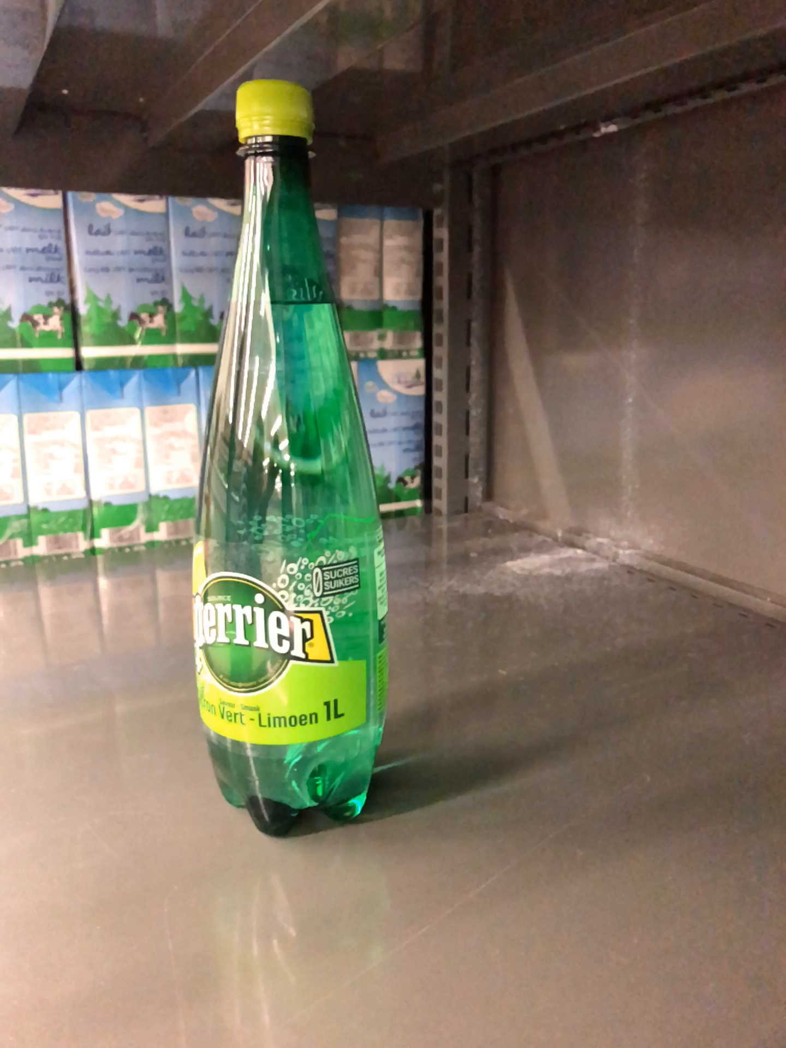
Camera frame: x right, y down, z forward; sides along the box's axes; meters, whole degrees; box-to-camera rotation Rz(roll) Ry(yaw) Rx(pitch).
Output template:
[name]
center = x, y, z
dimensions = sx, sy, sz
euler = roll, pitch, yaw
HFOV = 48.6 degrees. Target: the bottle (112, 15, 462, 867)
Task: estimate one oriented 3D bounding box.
[bottle]
center = -0.038, -0.028, 0.369
dimensions = 0.100, 0.299, 0.090
euler = 9, 16, 36
